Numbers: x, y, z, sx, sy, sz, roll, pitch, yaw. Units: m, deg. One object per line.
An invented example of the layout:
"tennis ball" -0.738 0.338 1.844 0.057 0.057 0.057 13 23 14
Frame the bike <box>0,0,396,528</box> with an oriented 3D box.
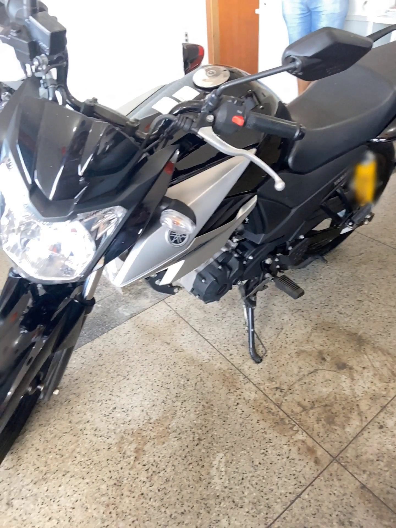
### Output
"bike" 0.261 -0.102 1.163 2.010 1.331 0.817 -33 44 -32
